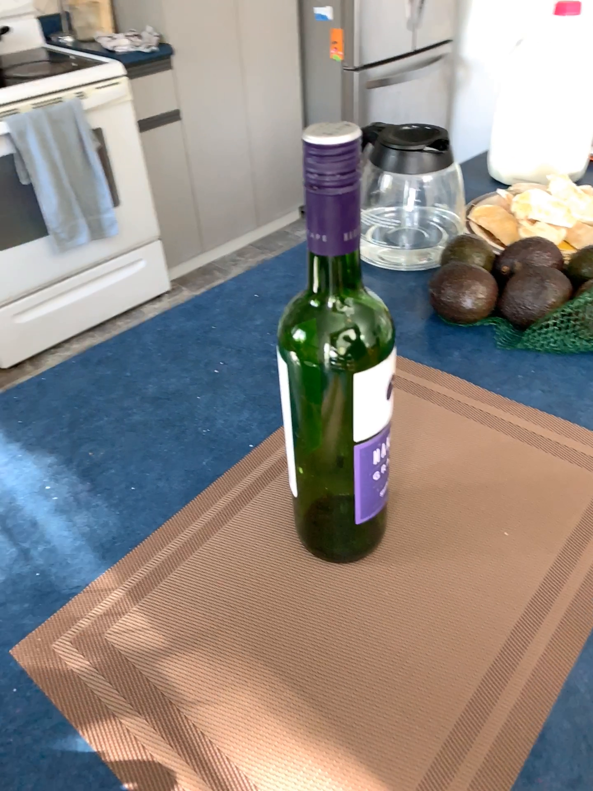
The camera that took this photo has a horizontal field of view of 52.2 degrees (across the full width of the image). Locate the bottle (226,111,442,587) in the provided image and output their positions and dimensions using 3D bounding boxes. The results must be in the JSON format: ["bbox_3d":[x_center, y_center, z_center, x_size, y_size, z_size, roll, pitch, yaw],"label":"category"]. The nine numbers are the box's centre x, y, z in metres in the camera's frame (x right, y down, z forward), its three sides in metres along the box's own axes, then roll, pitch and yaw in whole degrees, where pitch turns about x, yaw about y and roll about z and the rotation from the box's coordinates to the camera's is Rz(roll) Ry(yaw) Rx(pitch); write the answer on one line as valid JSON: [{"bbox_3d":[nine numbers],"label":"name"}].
[{"bbox_3d":[0.029,-0.010,0.375,0.080,0.287,0.081,-3,39,2],"label":"bottle"}]
